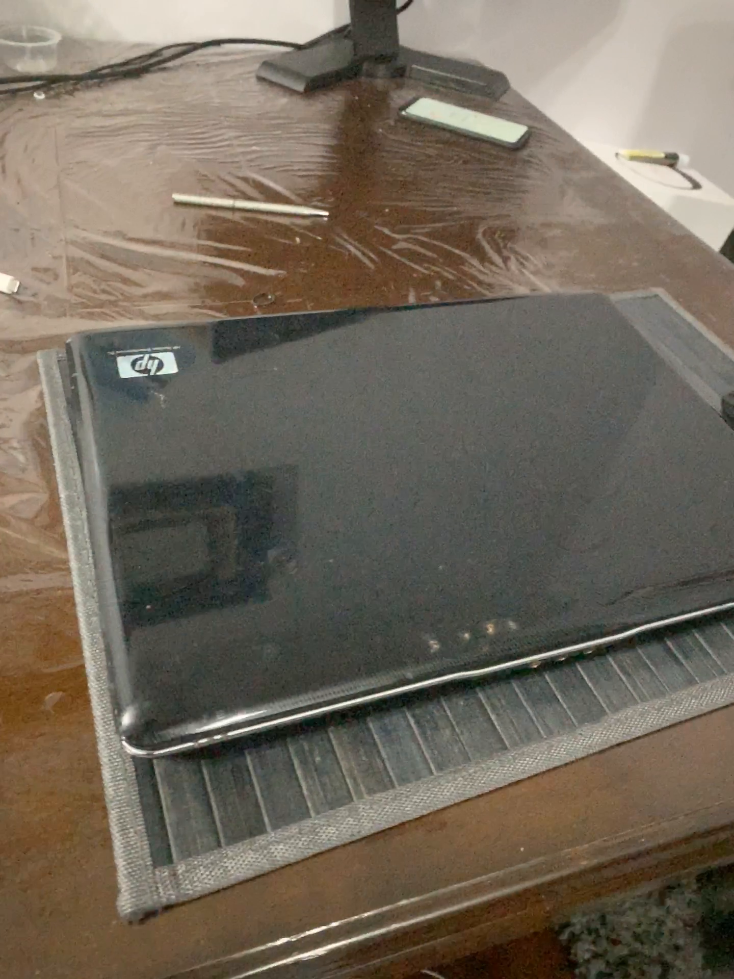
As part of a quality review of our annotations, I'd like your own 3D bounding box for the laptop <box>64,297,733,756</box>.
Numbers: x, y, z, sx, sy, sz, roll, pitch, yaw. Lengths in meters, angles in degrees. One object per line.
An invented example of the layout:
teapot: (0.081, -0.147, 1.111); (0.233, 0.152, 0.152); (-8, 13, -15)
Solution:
laptop: (0.036, -0.021, 0.387); (0.339, 0.009, 0.231); (-9, 49, -22)
